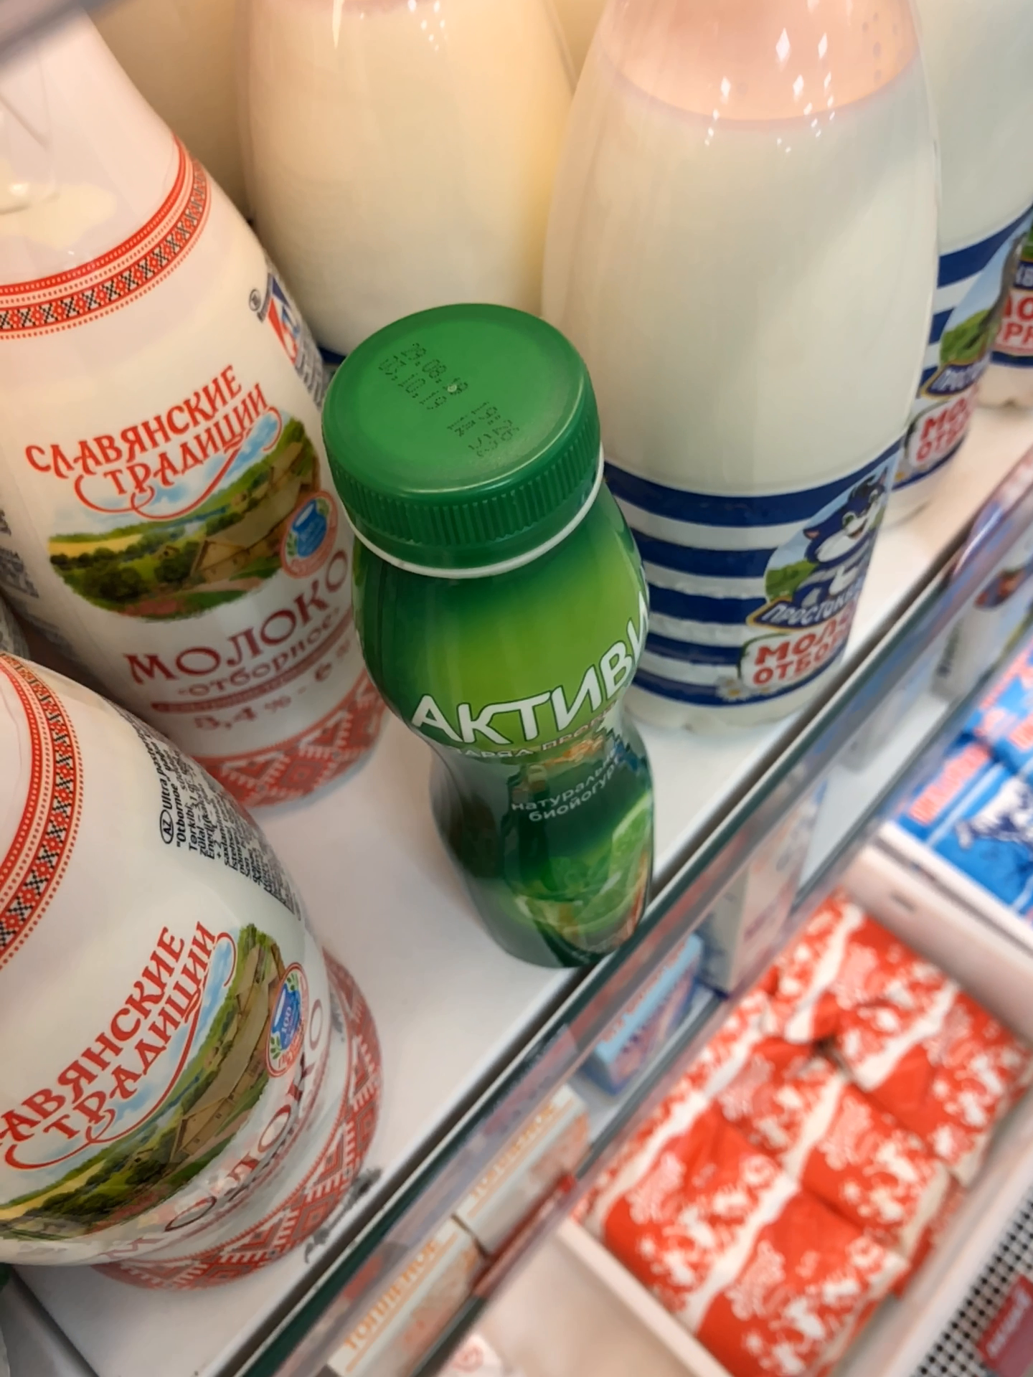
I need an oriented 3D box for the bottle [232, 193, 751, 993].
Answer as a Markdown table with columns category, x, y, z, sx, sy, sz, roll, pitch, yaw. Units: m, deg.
| category | x | y | z | sx | sy | sz | roll | pitch | yaw |
| --- | --- | --- | --- | --- | --- | --- | --- | --- | --- |
| bottle | 0.004 | 0.000 | 0.238 | 0.053 | 0.179 | 0.052 | -3 | 59 | 5 |
